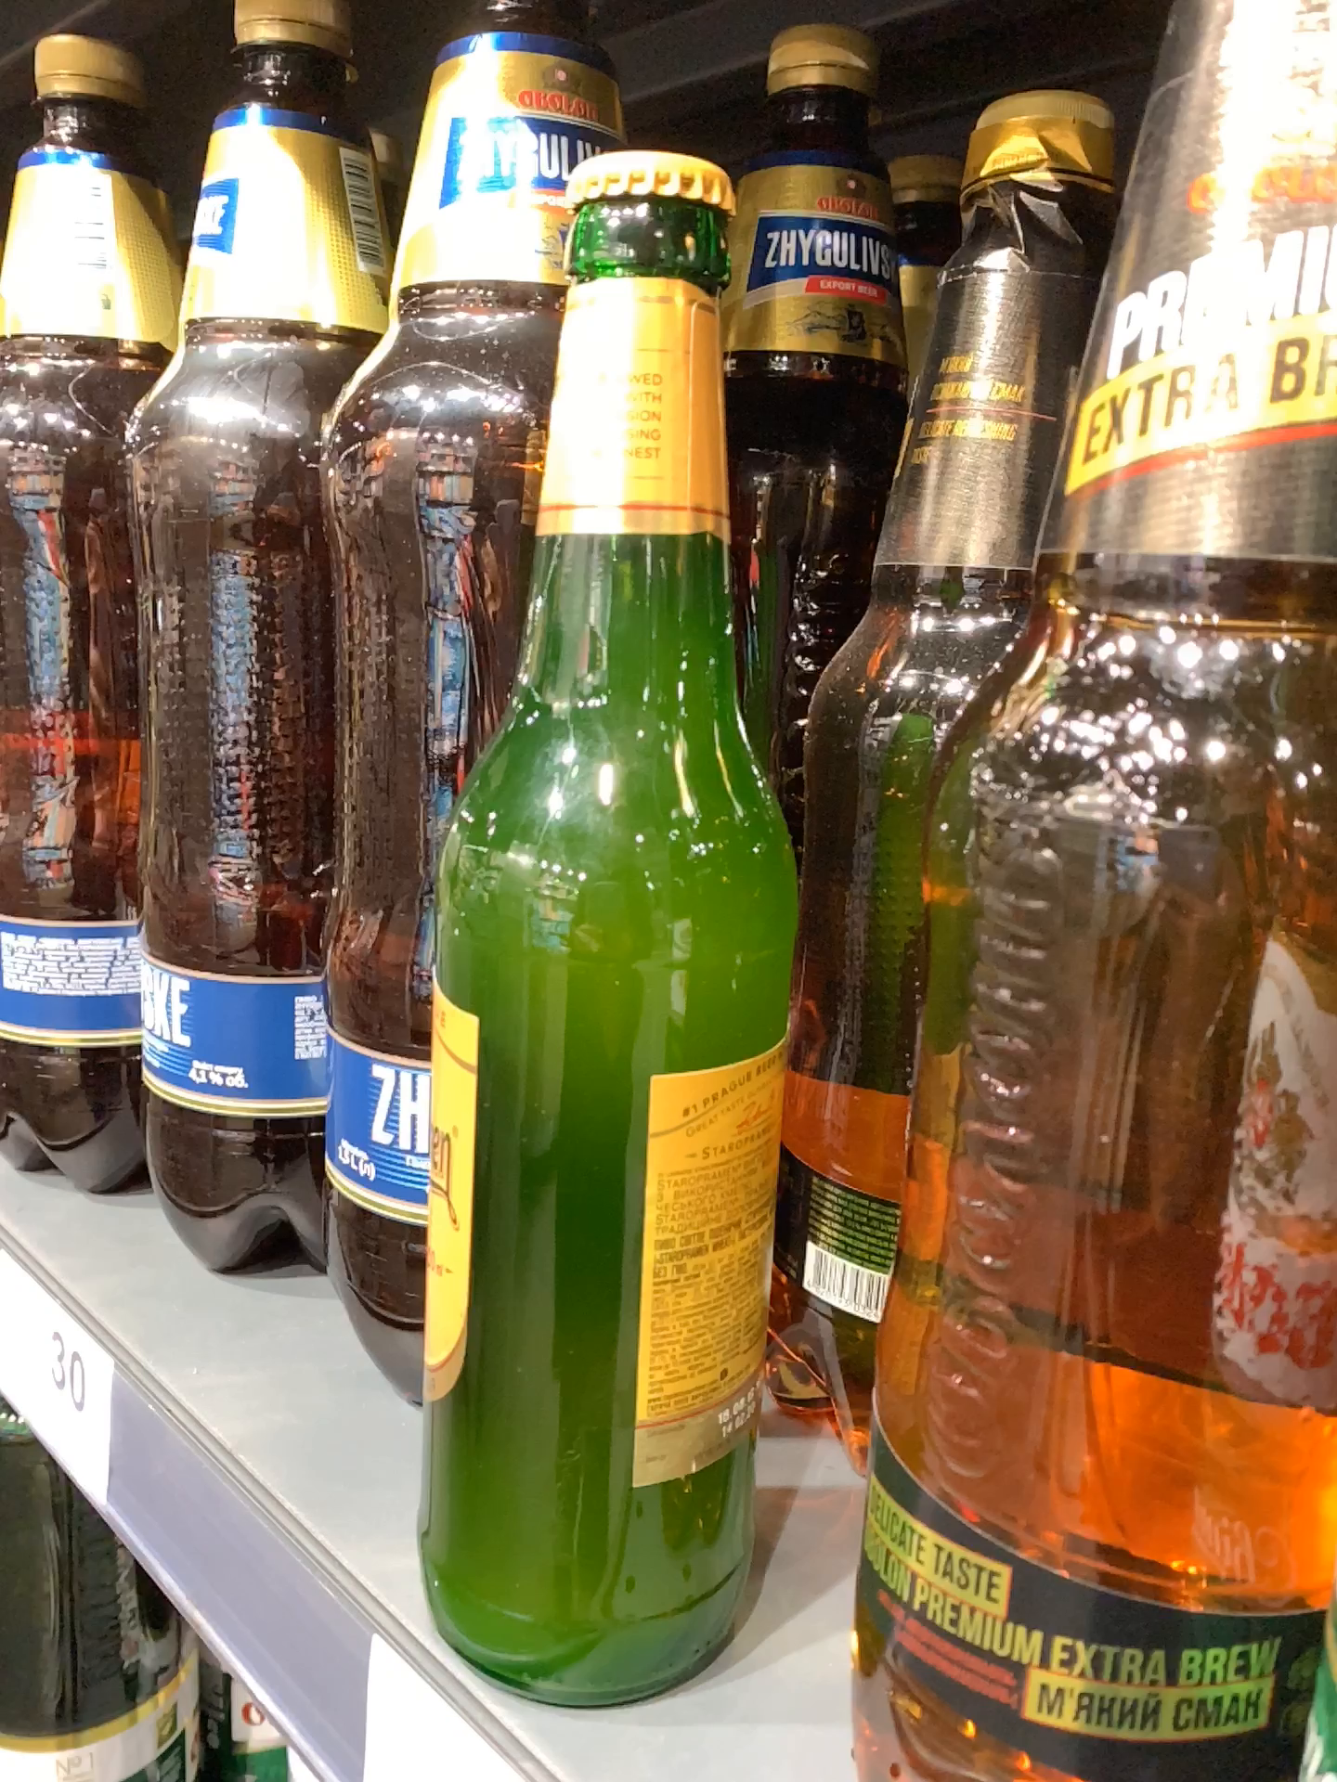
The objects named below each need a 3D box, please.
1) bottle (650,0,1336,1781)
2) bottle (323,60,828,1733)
[{"bbox_3d":[0.052,0.003,0.186,0.075,0.270,0.066,10,14,33],"label":"bottle"},{"bbox_3d":[-0.014,0.007,0.240,0.067,0.255,0.062,2,11,0],"label":"bottle"}]
